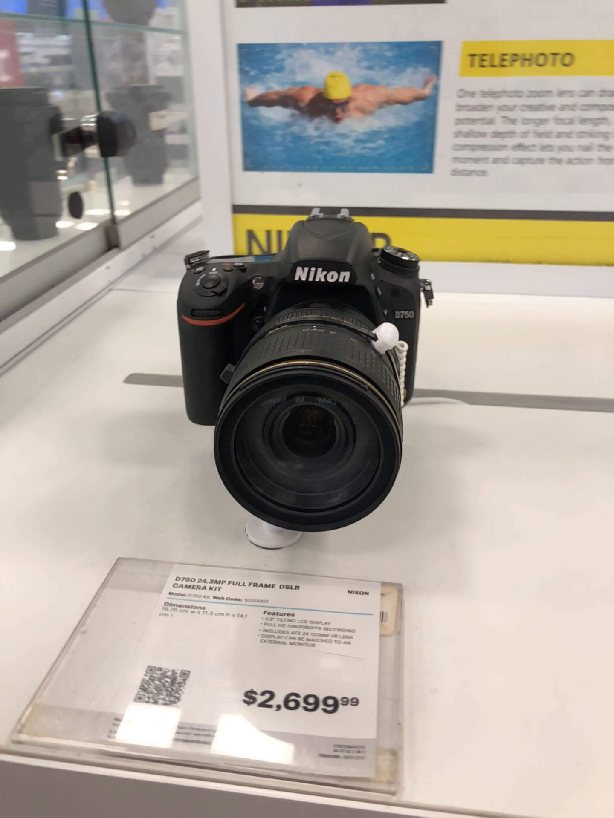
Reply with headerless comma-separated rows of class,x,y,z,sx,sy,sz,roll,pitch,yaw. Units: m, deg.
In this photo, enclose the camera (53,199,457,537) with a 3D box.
camera,-0.012,-0.035,0.352,0.150,0.110,0.171,2,27,5
